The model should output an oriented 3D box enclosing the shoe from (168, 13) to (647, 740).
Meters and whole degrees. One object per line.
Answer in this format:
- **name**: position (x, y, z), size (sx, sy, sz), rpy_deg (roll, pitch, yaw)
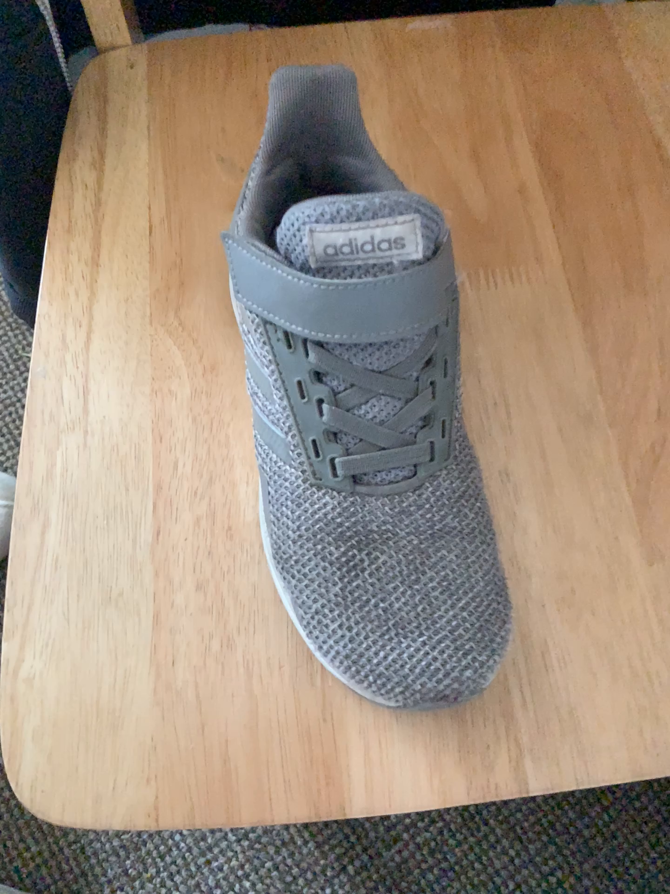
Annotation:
- **shoe**: position (0.009, -0.028, 0.238), size (0.090, 0.080, 0.221), rpy_deg (-11, 70, -4)
